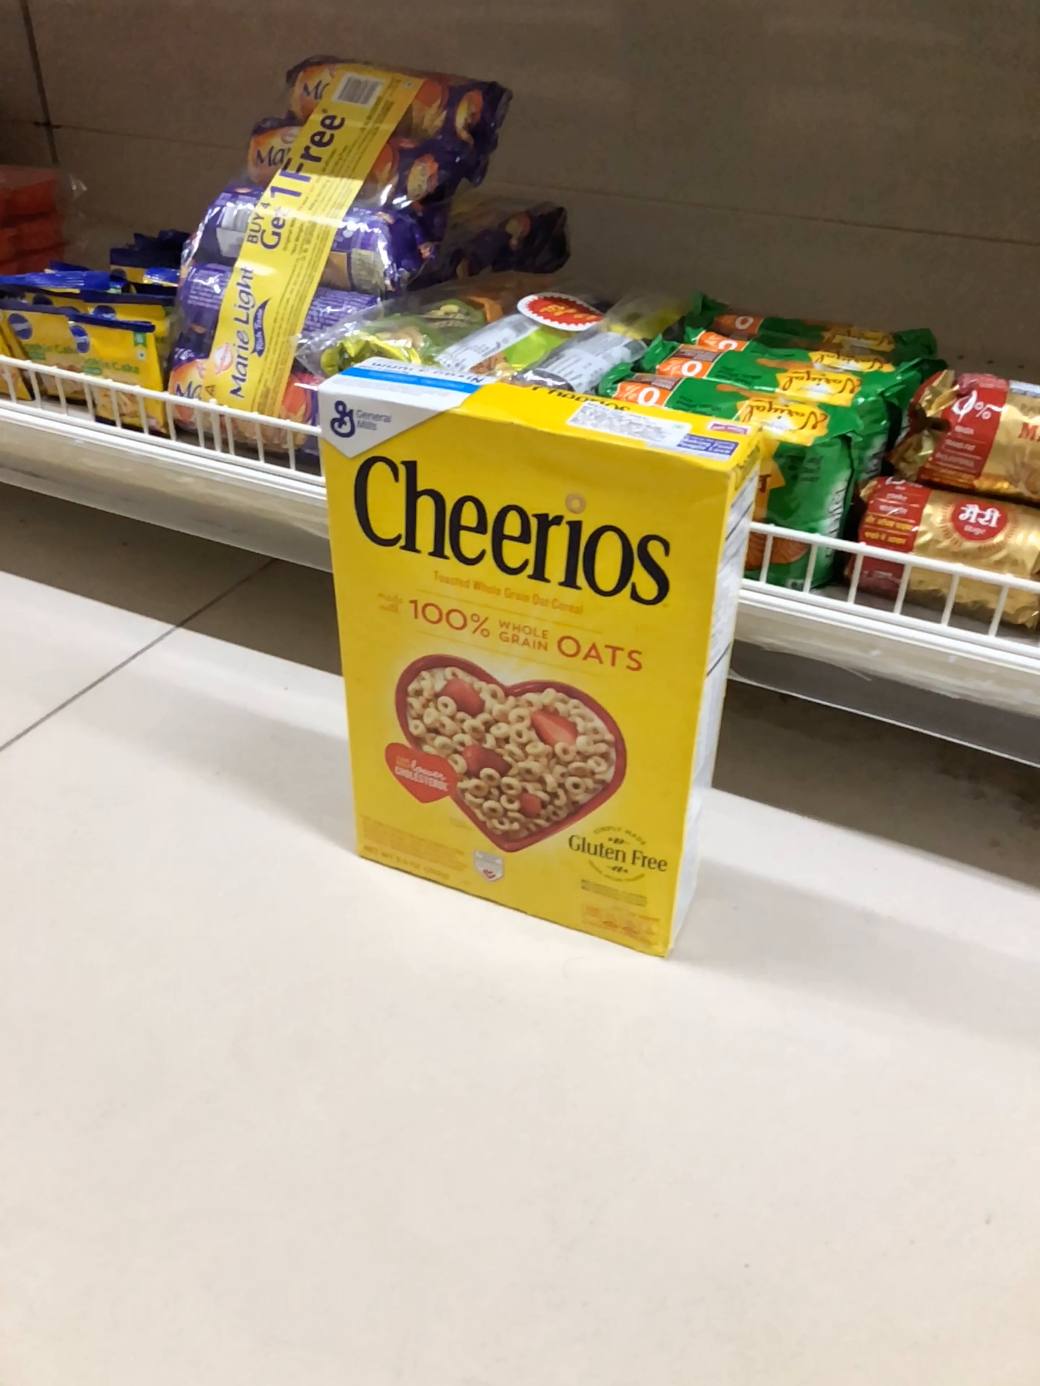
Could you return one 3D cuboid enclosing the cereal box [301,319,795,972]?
[{"bbox_3d":[0.007,-0.016,0.561,0.200,0.288,0.060,15,36,19],"label":"cereal box"}]
